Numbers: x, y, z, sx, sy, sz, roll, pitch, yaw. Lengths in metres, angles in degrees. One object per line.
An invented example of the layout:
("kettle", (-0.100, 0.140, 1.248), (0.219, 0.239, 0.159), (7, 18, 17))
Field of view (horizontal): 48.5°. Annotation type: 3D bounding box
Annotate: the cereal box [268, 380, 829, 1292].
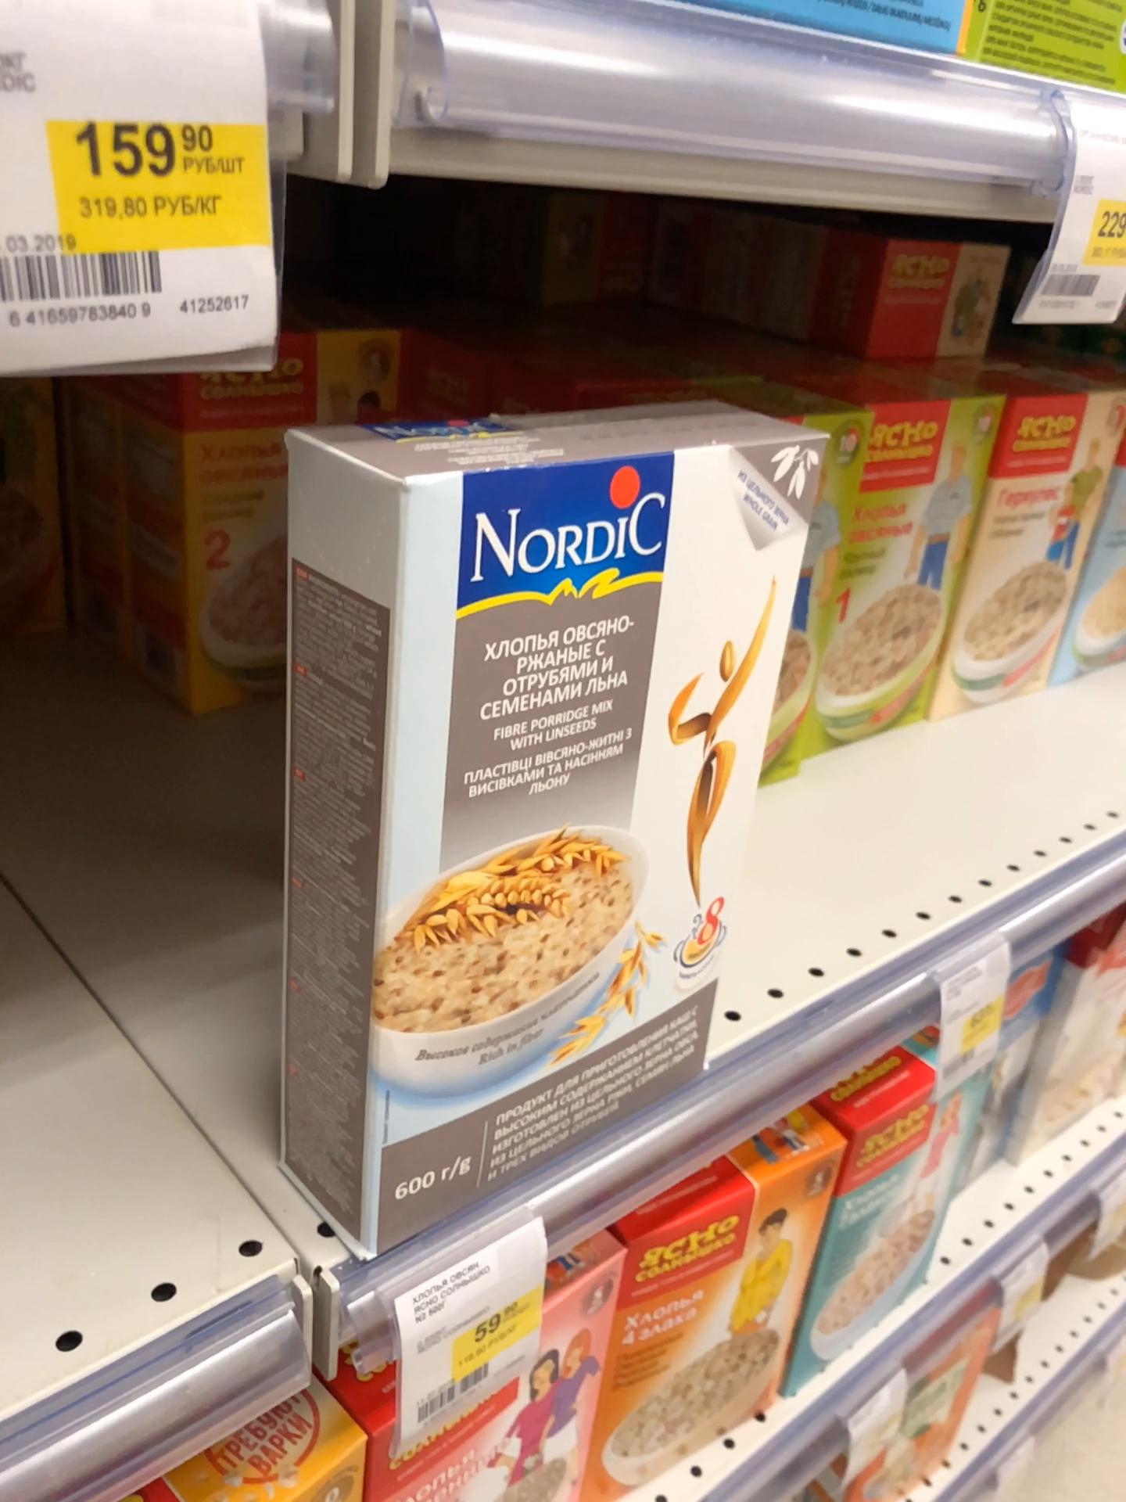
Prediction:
("cereal box", (-0.009, 0.020, 0.355), (0.140, 0.229, 0.050), (-18, 35, -40))
